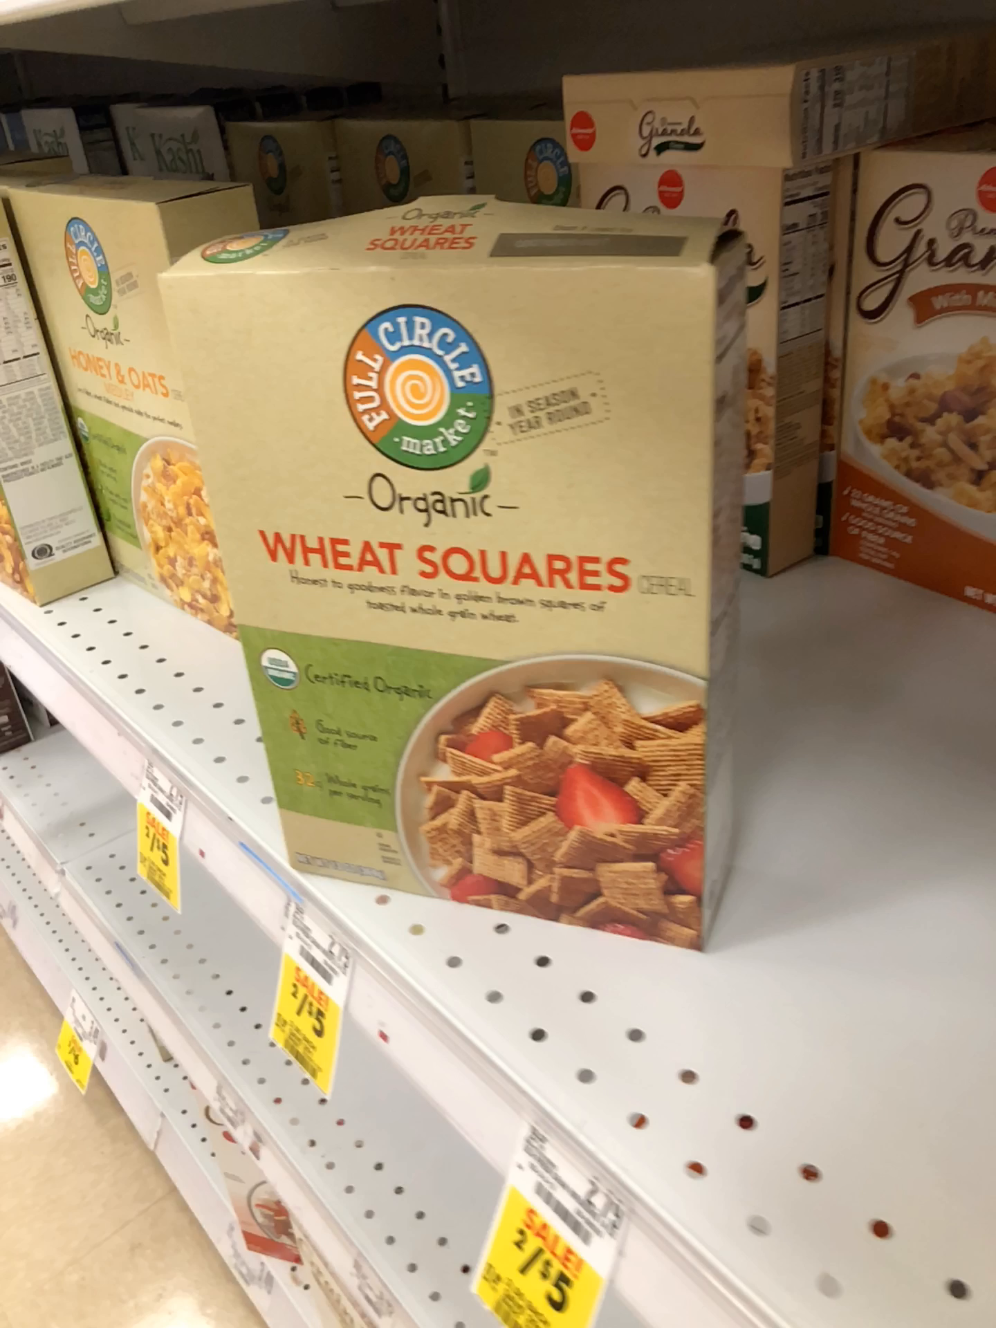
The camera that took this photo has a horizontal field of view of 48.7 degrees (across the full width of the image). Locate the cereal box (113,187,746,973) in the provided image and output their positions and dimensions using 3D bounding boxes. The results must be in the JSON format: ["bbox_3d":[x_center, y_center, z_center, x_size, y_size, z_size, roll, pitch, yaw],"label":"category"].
[{"bbox_3d":[-0.011,-0.021,0.420,0.200,0.279,0.050,6,33,22],"label":"cereal box"}]
